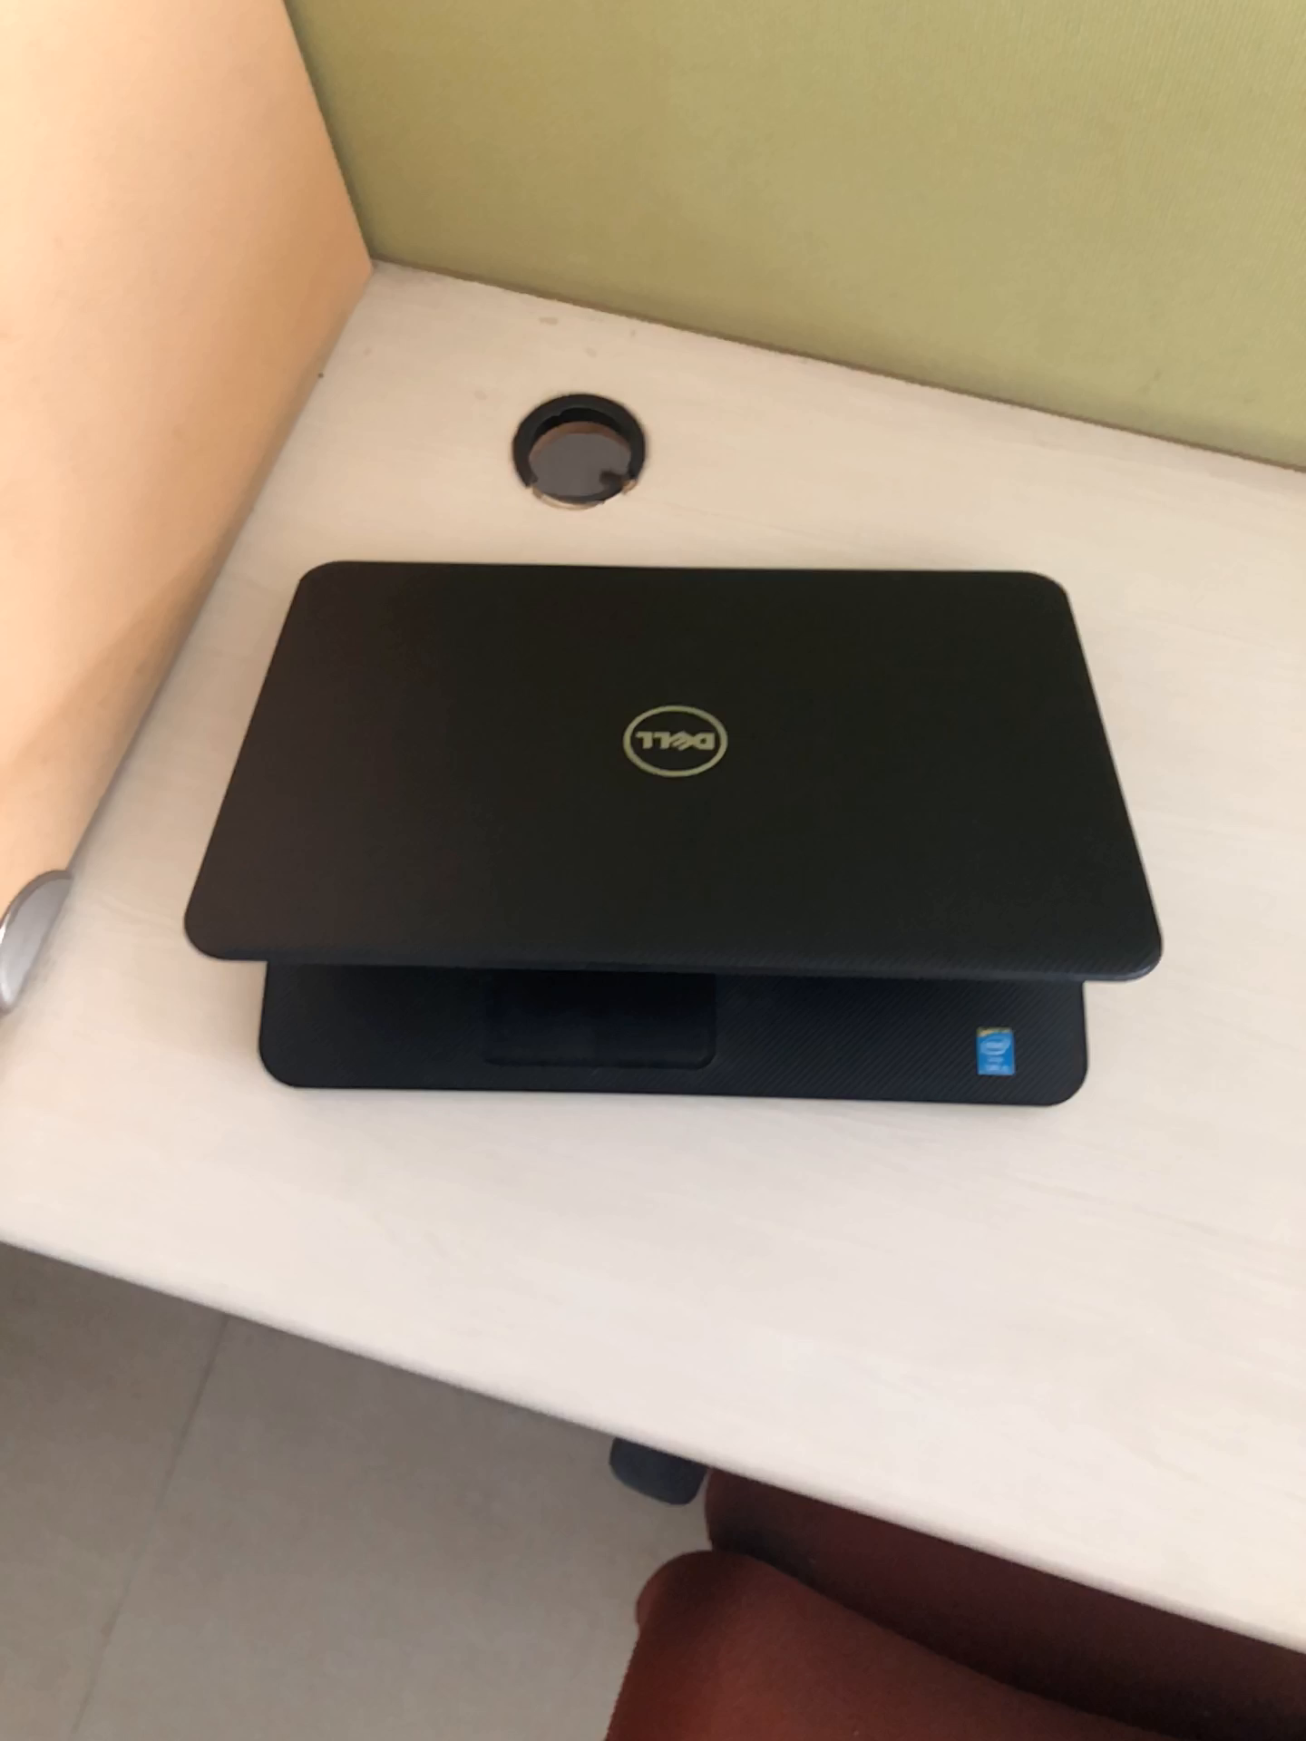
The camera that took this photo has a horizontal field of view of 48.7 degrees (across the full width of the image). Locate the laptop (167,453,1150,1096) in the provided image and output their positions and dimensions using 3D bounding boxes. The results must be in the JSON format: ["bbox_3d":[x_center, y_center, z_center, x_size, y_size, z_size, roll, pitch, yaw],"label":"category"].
[{"bbox_3d":[0.005,-0.040,0.624,0.366,0.107,0.247,1,73,2],"label":"laptop"}]
